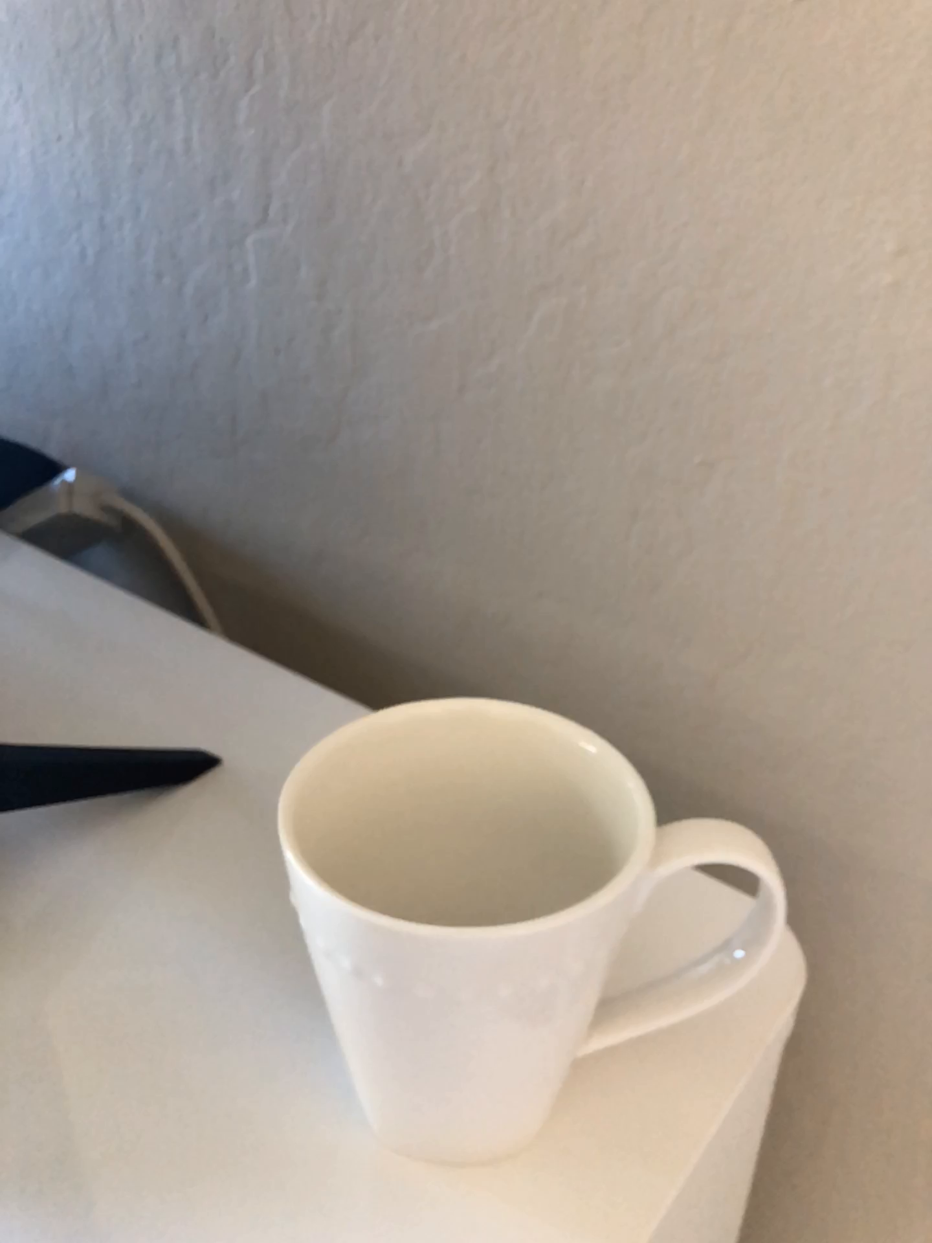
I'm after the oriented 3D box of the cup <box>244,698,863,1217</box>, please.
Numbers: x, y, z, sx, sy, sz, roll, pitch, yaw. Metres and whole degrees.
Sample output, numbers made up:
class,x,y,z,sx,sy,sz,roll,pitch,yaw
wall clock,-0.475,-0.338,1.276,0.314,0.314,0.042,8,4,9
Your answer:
class,x,y,z,sx,sy,sz,roll,pitch,yaw
cup,0.018,0.085,0.281,0.130,0.090,0.090,2,28,0
